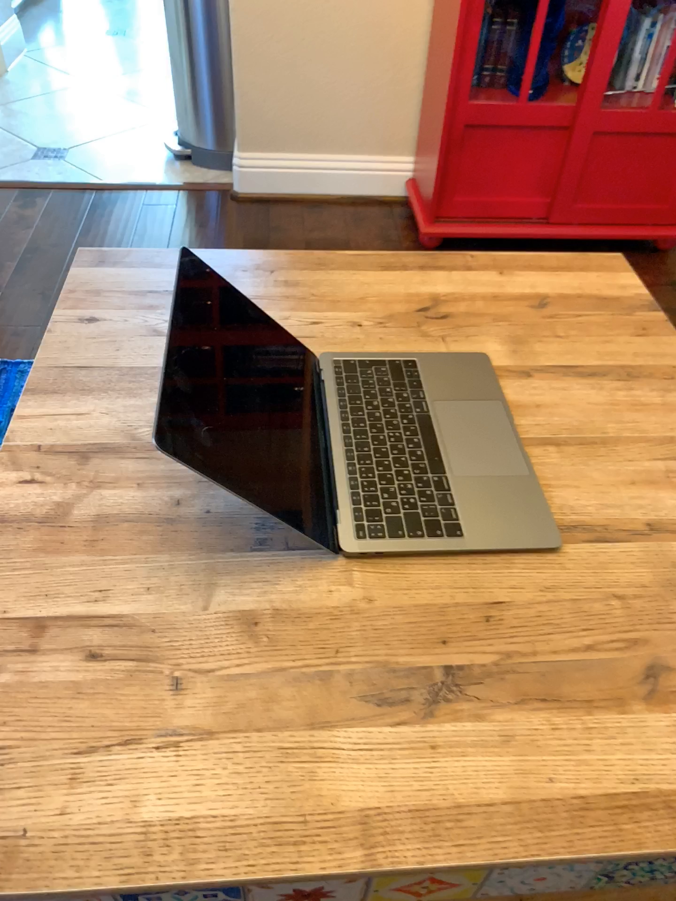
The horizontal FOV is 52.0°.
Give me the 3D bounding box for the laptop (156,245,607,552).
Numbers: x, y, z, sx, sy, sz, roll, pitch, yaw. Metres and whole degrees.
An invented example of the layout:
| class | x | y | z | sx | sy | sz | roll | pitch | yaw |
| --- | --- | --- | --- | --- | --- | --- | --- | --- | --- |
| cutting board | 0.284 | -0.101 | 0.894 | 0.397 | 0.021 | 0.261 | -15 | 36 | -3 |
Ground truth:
| class | x | y | z | sx | sy | sz | roll | pitch | yaw |
| --- | --- | --- | --- | --- | --- | --- | --- | --- | --- |
| laptop | 0.023 | -0.063 | 0.689 | 0.353 | 0.141 | 0.292 | 0 | 45 | -5 |
